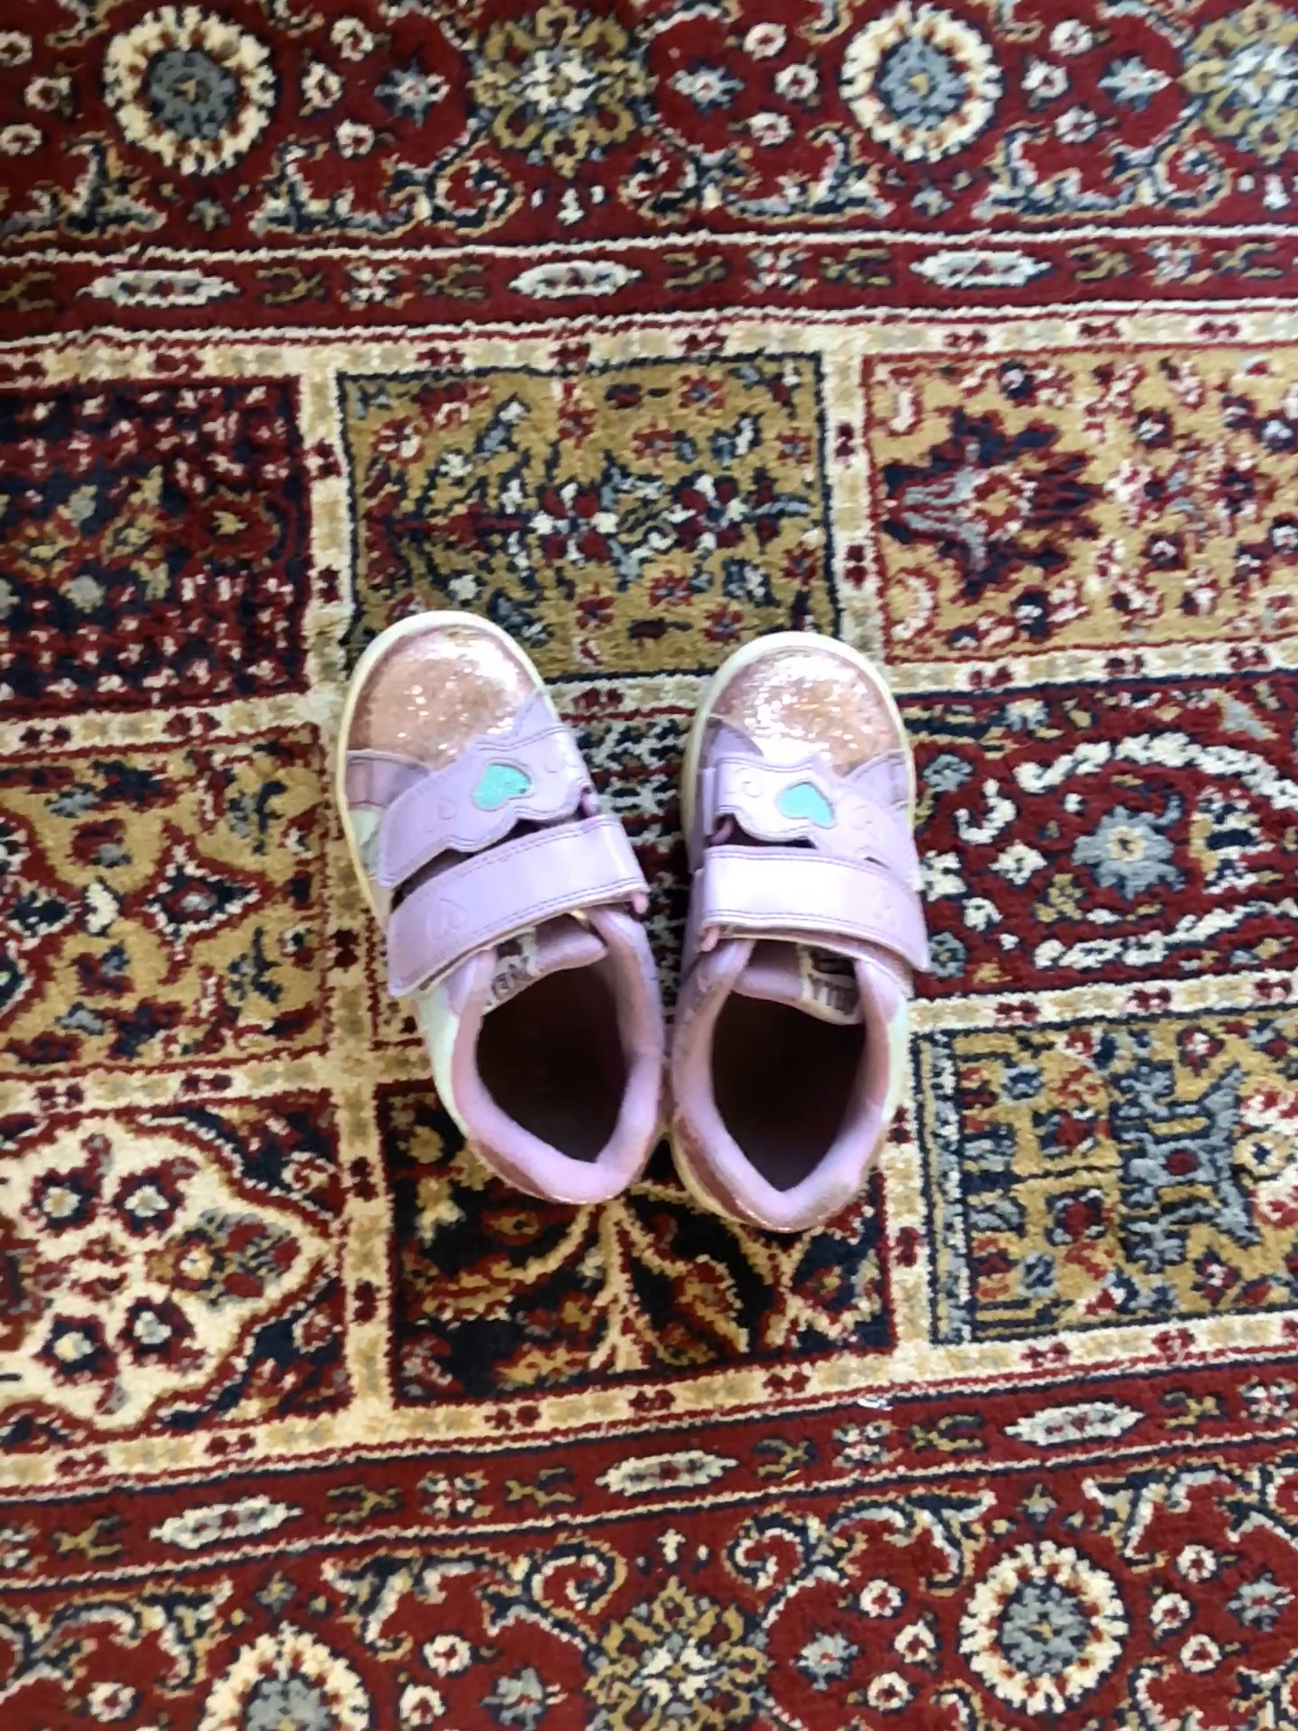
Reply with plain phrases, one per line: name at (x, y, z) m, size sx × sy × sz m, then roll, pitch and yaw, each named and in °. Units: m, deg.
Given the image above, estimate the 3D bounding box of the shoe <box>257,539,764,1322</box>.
shoe at (-0.044, 0.019, 0.458) m, size 0.090 × 0.090 × 0.208 m, roll -17°, pitch 90°, yaw -6°

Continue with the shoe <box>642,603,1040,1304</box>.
shoe at (0.057, 0.027, 0.465) m, size 0.100 × 0.090 × 0.200 m, roll 4°, pitch 88°, yaw -5°
